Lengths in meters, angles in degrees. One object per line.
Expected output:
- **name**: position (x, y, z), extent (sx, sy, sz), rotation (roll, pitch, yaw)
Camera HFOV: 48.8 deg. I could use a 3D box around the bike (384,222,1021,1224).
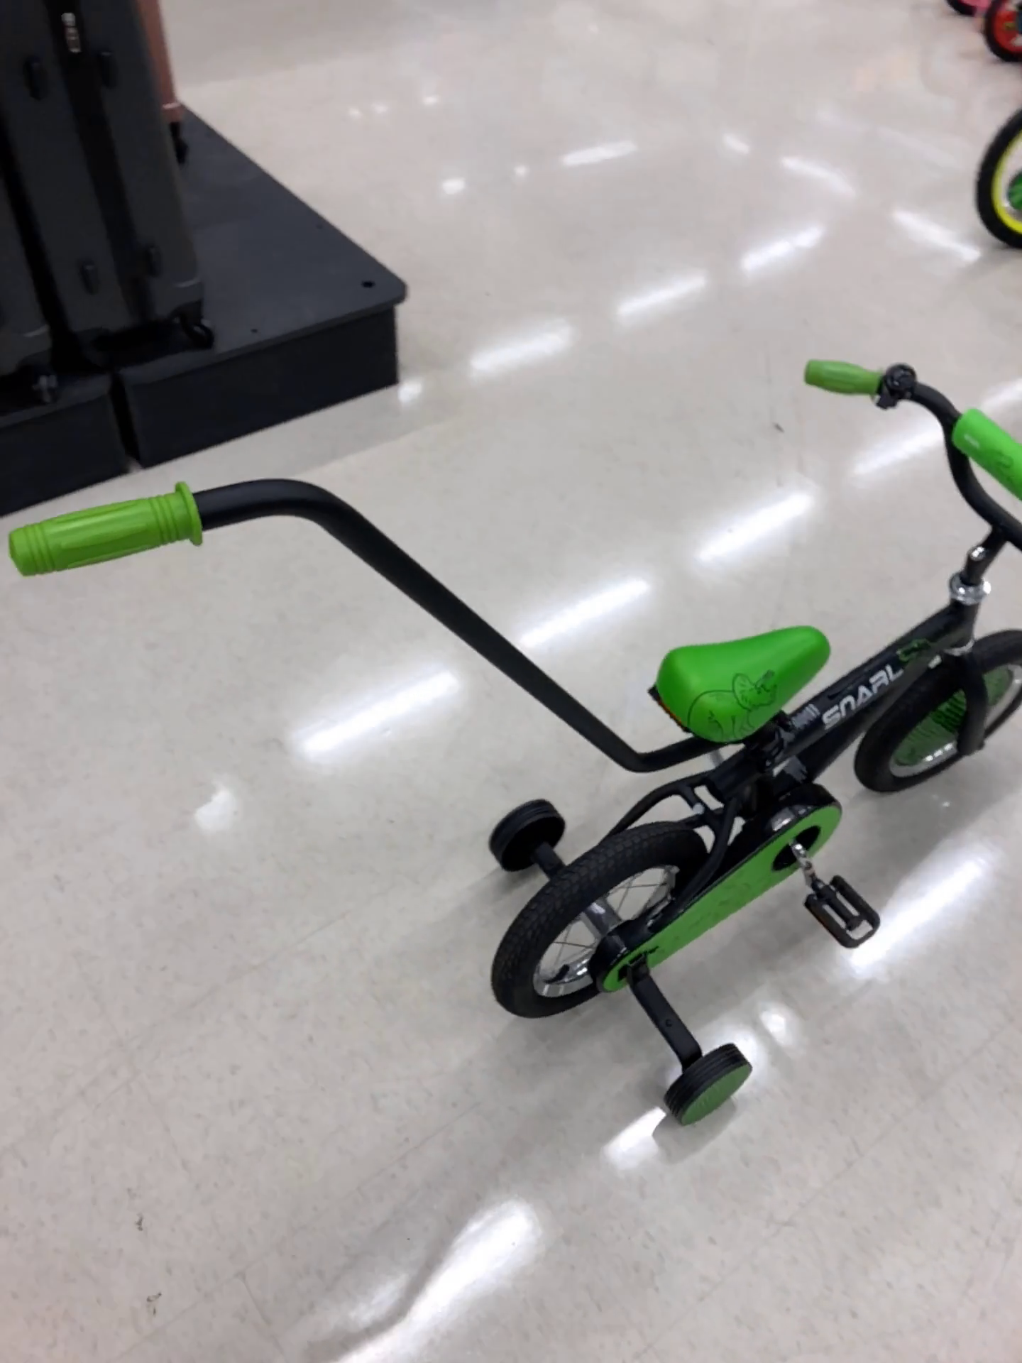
- **bike**: position (0.361, 0.020, 1.236), extent (0.847, 0.600, 0.493), rotation (-26, 53, -20)
